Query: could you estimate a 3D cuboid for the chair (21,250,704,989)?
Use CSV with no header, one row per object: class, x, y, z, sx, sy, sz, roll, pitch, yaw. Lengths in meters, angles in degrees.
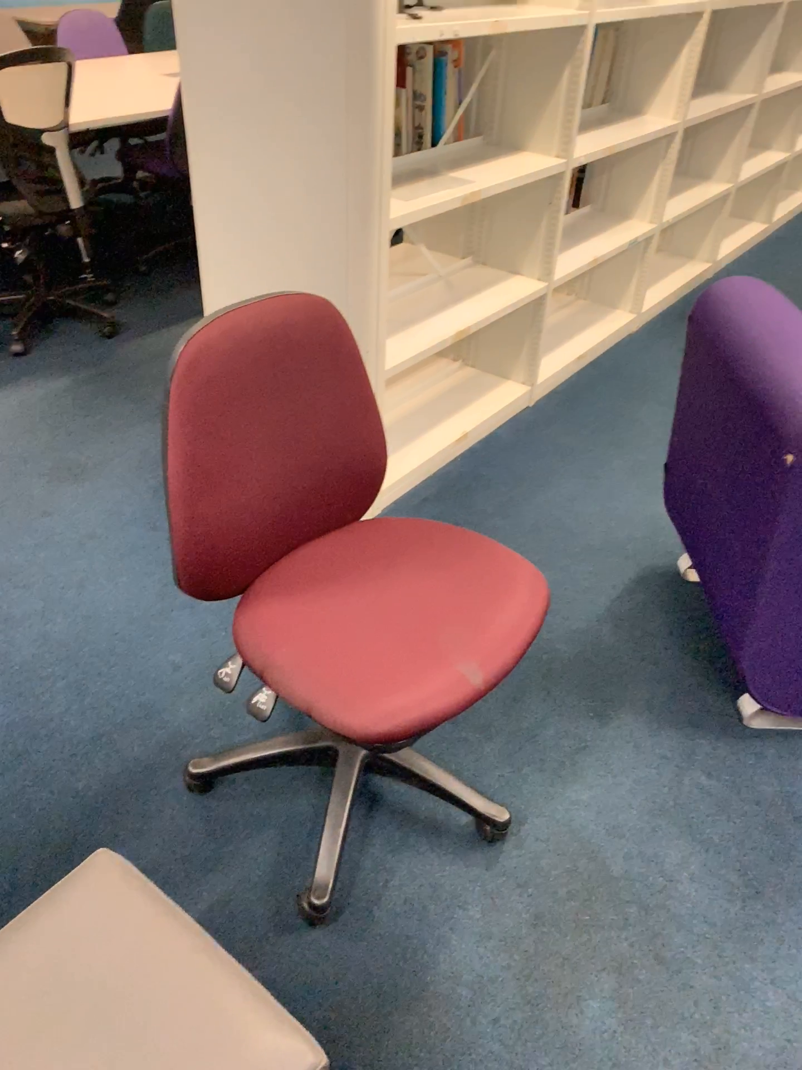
chair,-0.064,0.073,1.366,0.693,0.782,0.653,30,44,31
